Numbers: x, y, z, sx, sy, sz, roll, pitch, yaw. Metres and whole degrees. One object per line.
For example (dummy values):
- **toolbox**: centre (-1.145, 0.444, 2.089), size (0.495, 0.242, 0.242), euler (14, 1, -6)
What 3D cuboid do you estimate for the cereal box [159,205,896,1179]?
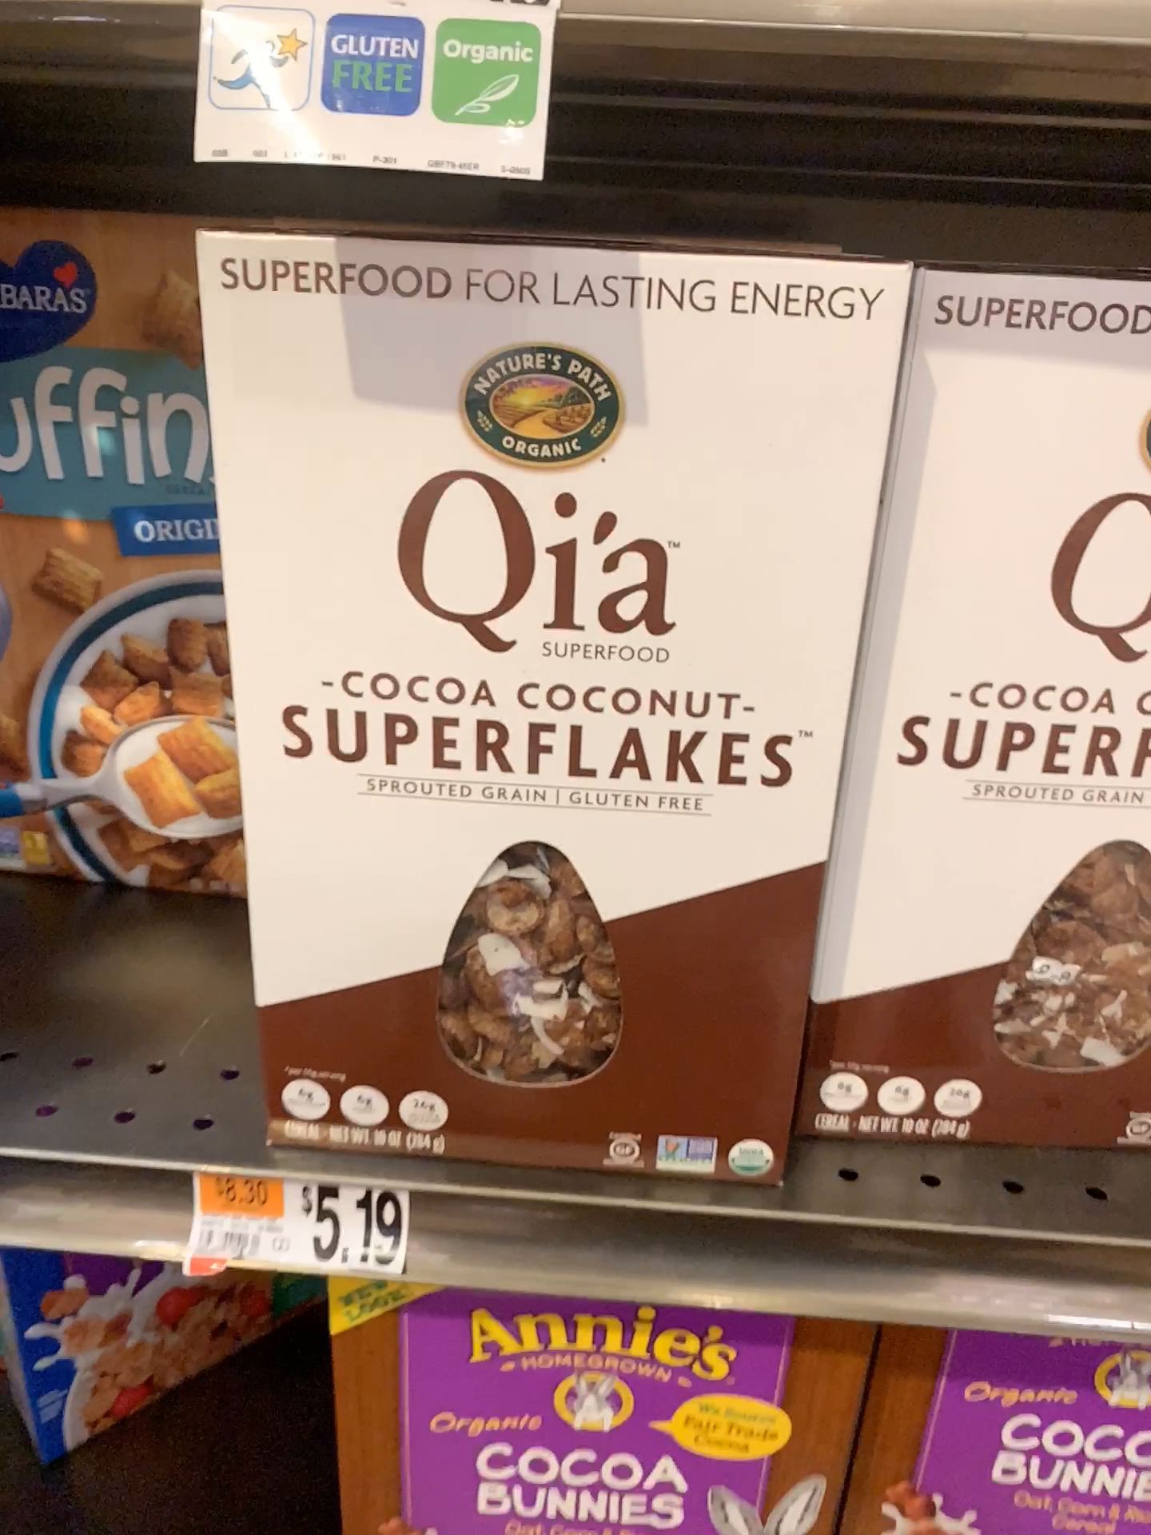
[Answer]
- **cereal box**: centre (-0.015, -0.012, 0.337), size (0.160, 0.259, 0.060), euler (4, 24, 2)
